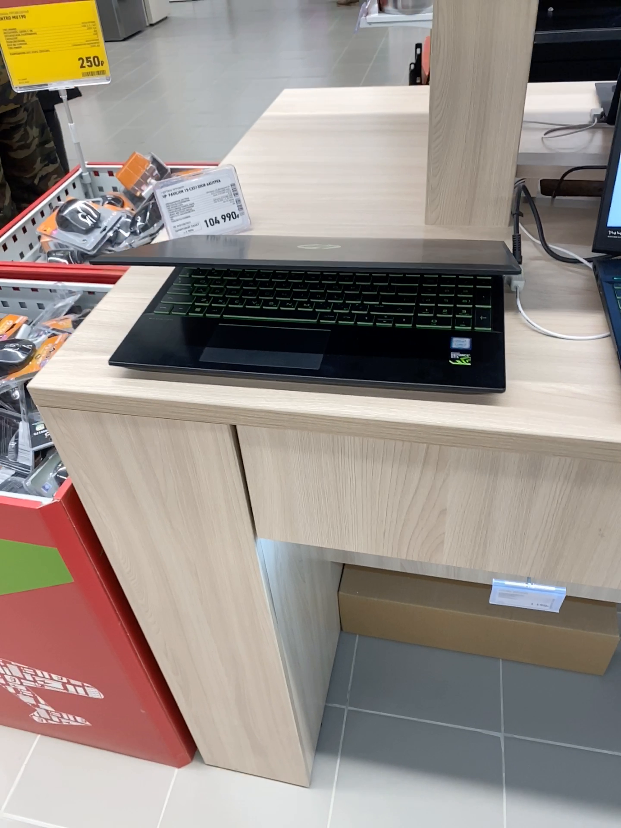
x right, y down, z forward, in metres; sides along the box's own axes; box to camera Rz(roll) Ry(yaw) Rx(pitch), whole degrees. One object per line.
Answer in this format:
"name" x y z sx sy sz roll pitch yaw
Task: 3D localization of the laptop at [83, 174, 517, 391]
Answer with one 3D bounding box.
"laptop" 0.006 -0.148 0.632 0.366 0.086 0.242 5 42 12
